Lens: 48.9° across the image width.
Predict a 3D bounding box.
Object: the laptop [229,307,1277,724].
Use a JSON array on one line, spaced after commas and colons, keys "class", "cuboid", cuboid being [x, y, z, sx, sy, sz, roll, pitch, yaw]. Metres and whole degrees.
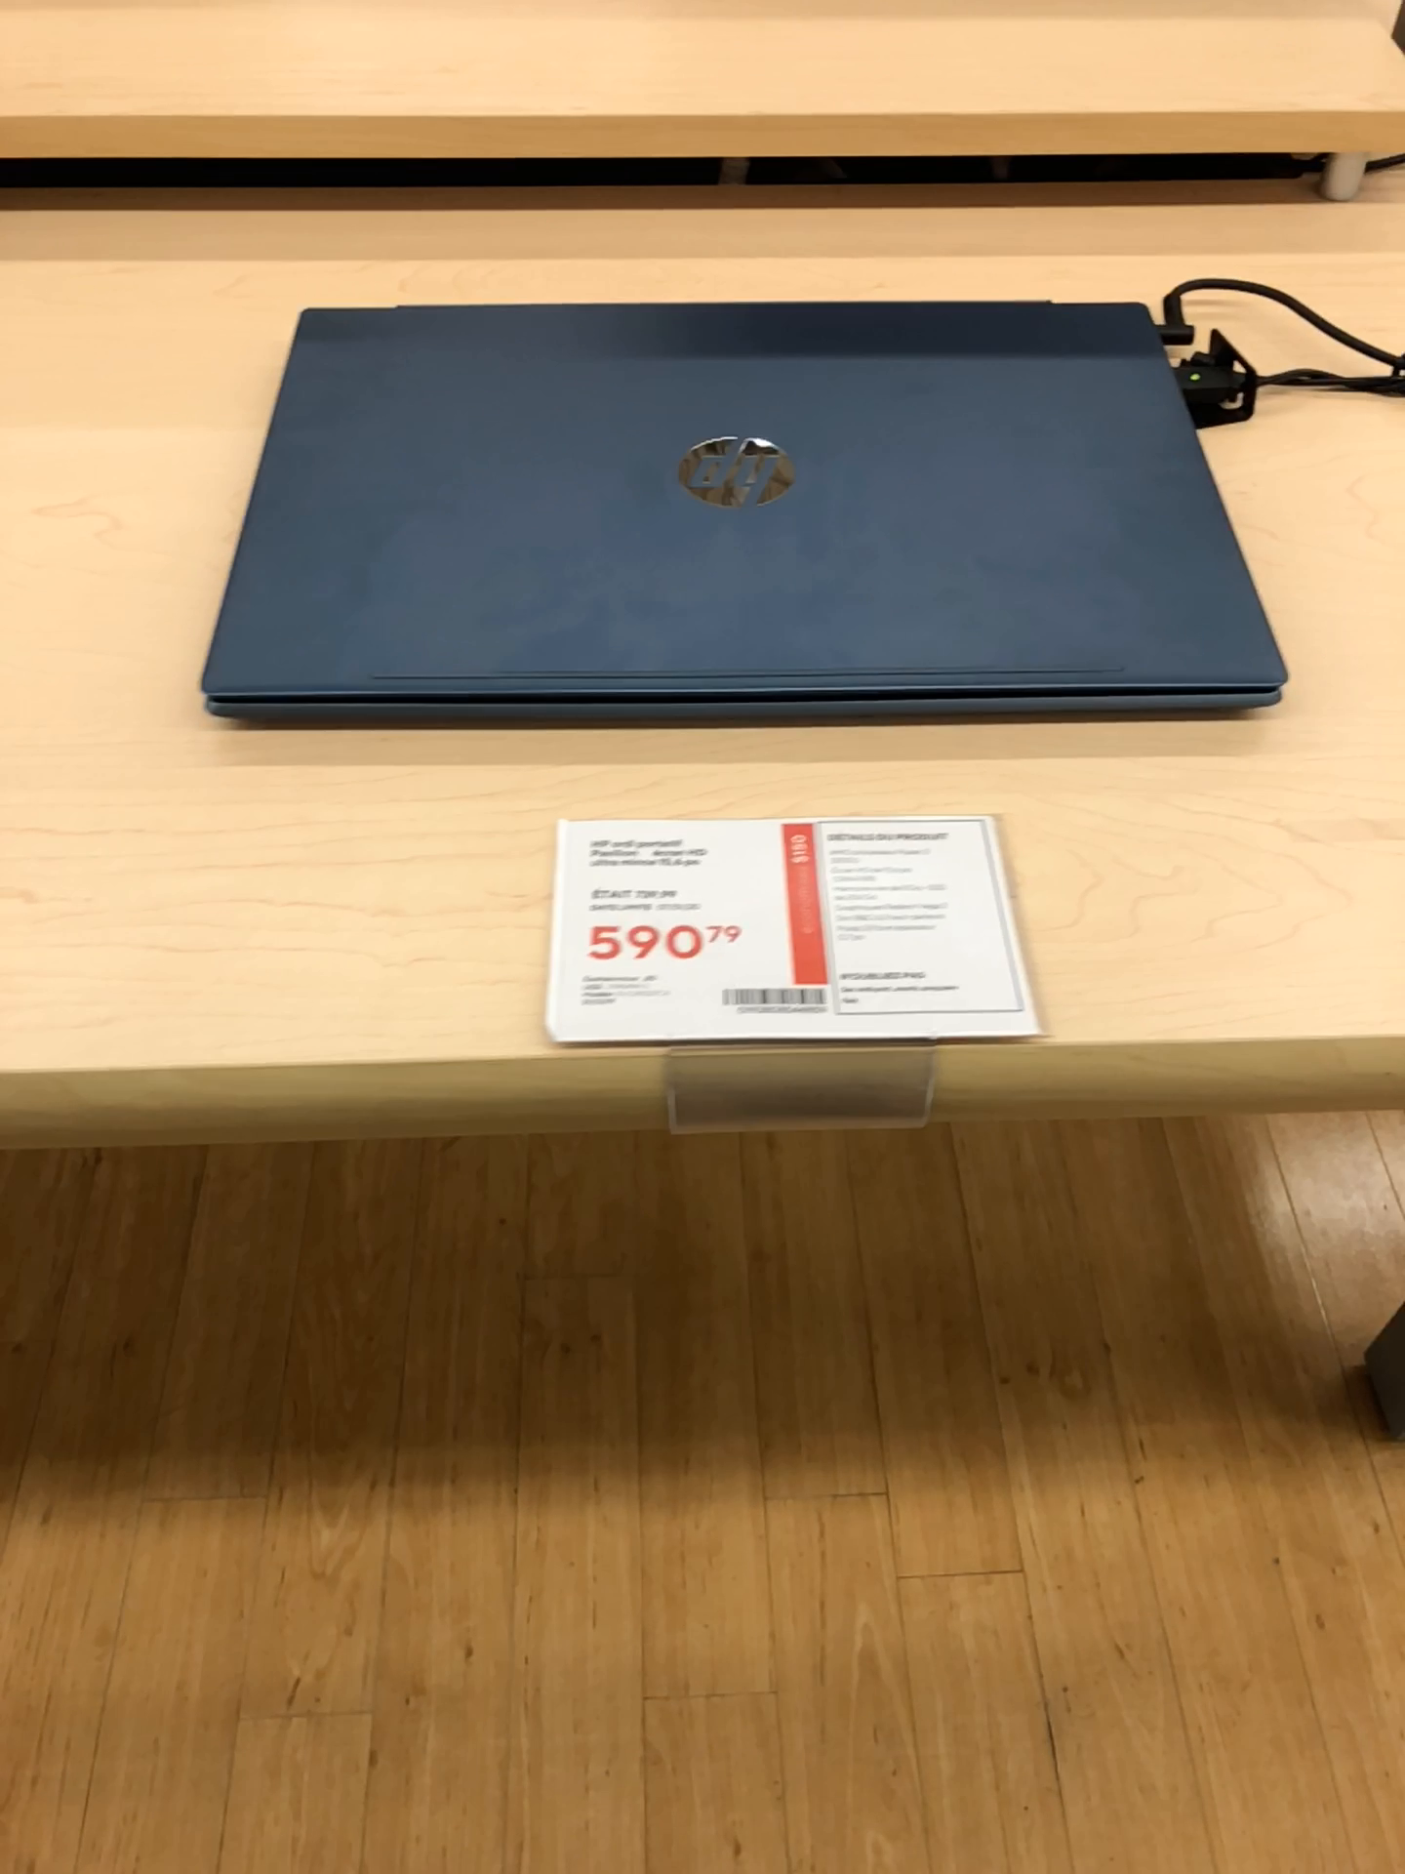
[{"class": "laptop", "cuboid": [0.012, -0.168, 0.588, 0.352, 0.012, 0.221, -1, 54, 0]}]
